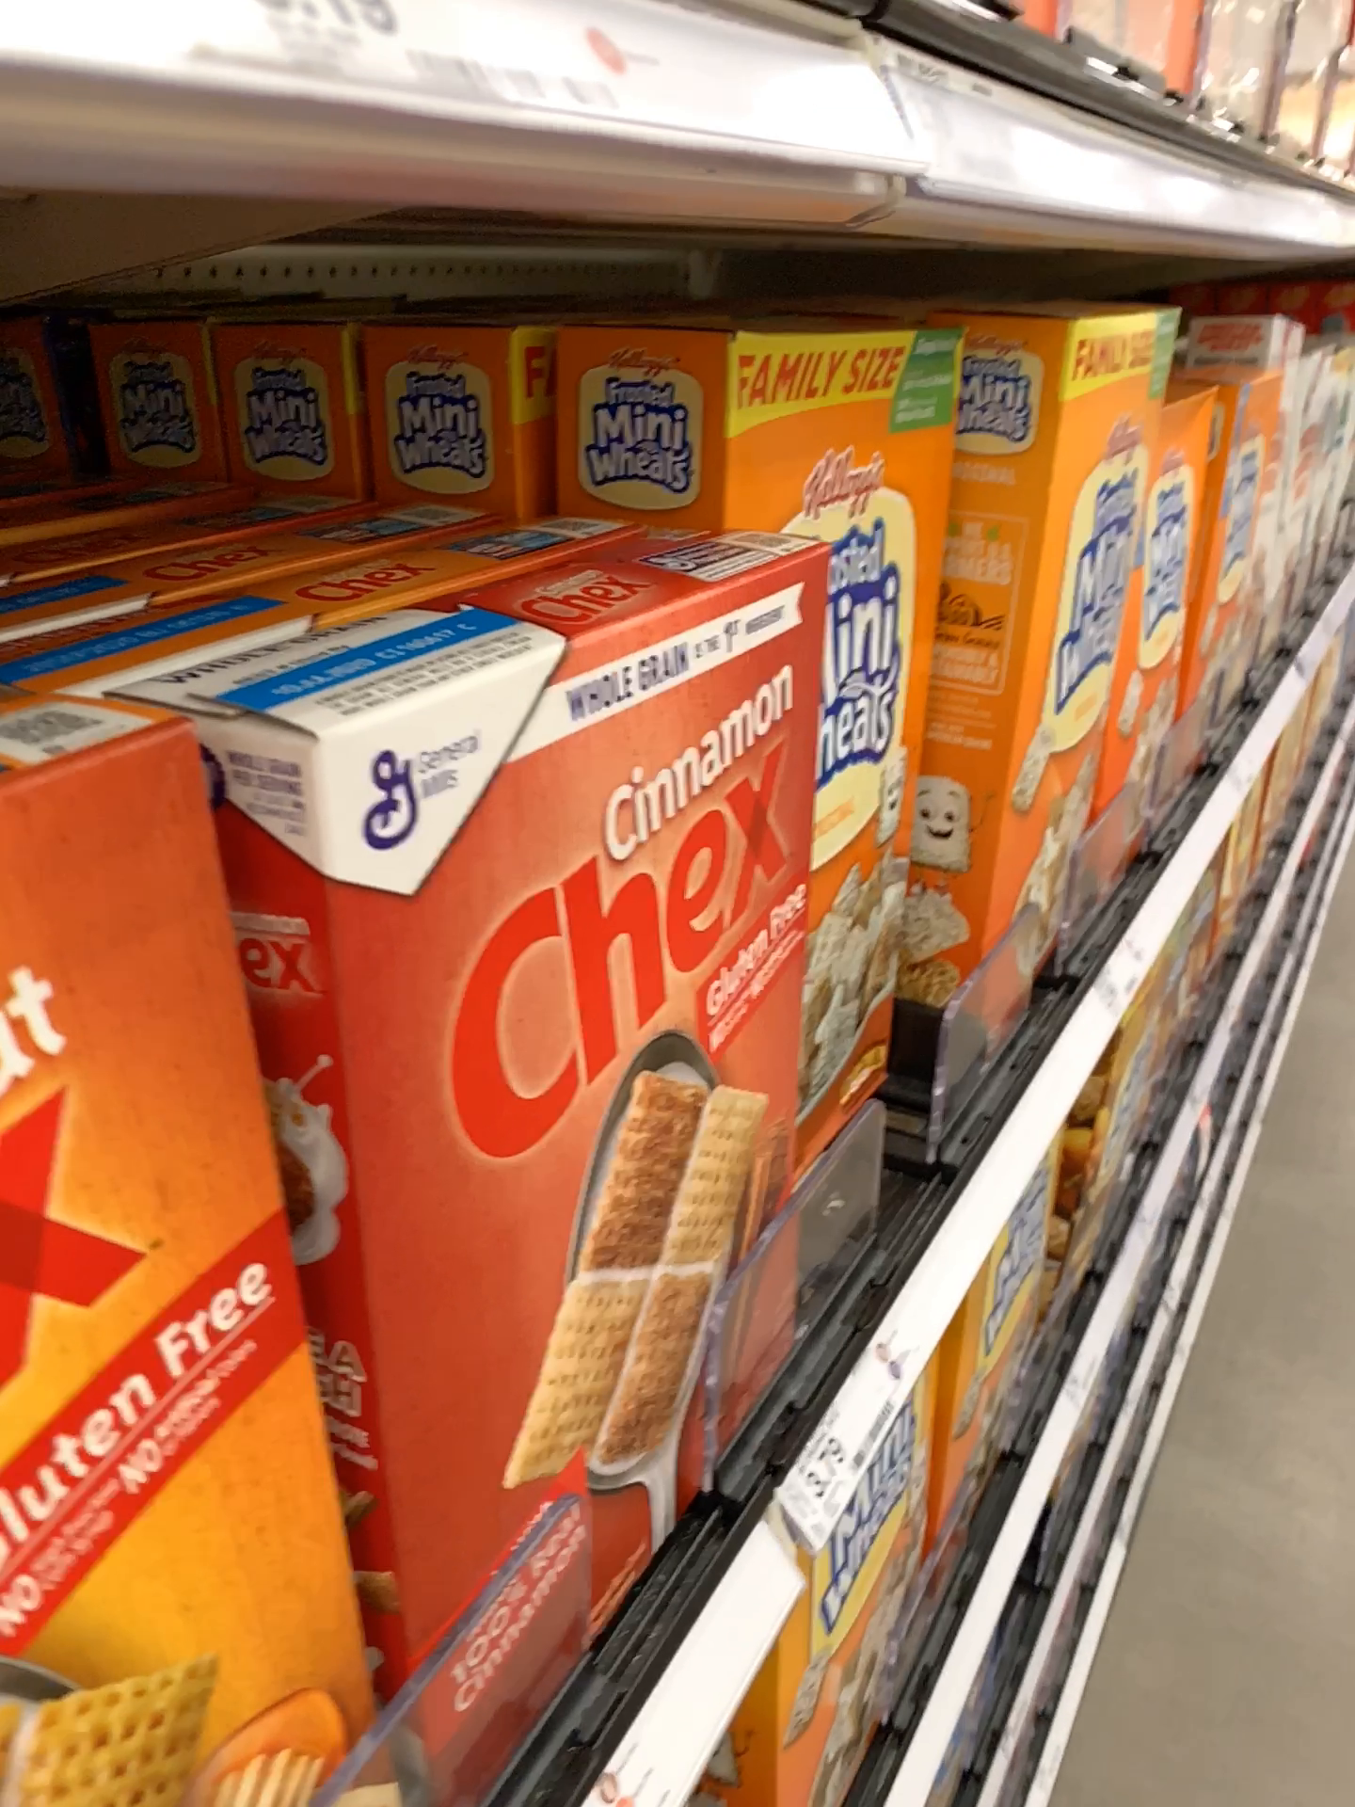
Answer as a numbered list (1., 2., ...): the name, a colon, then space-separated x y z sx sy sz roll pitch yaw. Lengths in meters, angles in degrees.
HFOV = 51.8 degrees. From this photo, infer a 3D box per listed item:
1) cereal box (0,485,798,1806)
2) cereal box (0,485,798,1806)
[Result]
1. cereal box: -0.043 0.059 0.368 0.060 0.299 0.201 13 27 26
2. cereal box: -0.043 0.059 0.368 0.060 0.299 0.201 13 27 26
